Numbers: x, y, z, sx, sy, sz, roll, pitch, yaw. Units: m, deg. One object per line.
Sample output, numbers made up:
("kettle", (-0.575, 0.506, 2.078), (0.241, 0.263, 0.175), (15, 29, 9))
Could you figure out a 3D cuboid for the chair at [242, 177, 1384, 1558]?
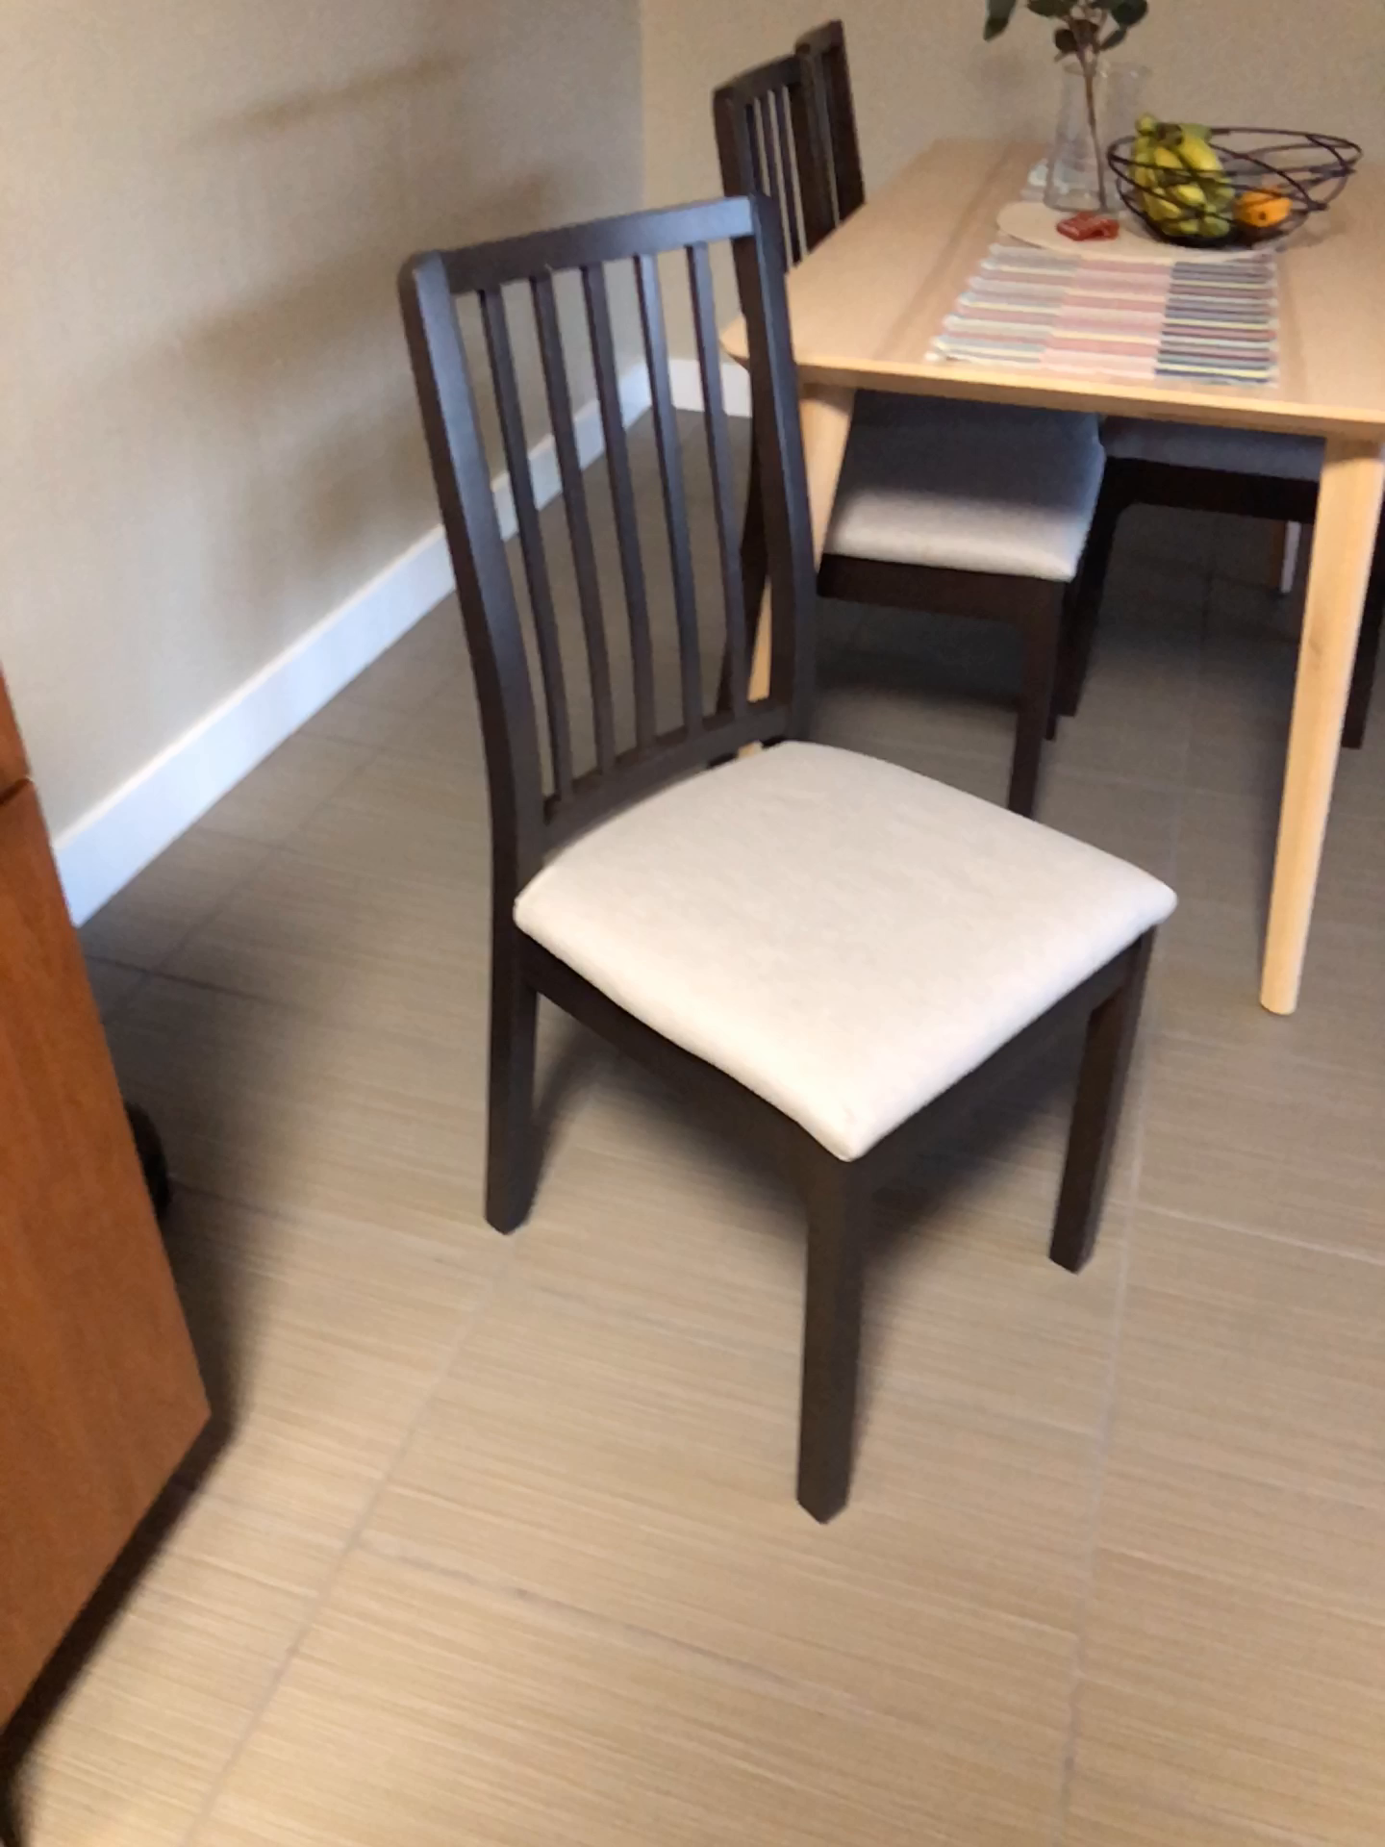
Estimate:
("chair", (0.104, -0.092, 1.285), (0.591, 0.846, 0.582), (29, 44, 34))
